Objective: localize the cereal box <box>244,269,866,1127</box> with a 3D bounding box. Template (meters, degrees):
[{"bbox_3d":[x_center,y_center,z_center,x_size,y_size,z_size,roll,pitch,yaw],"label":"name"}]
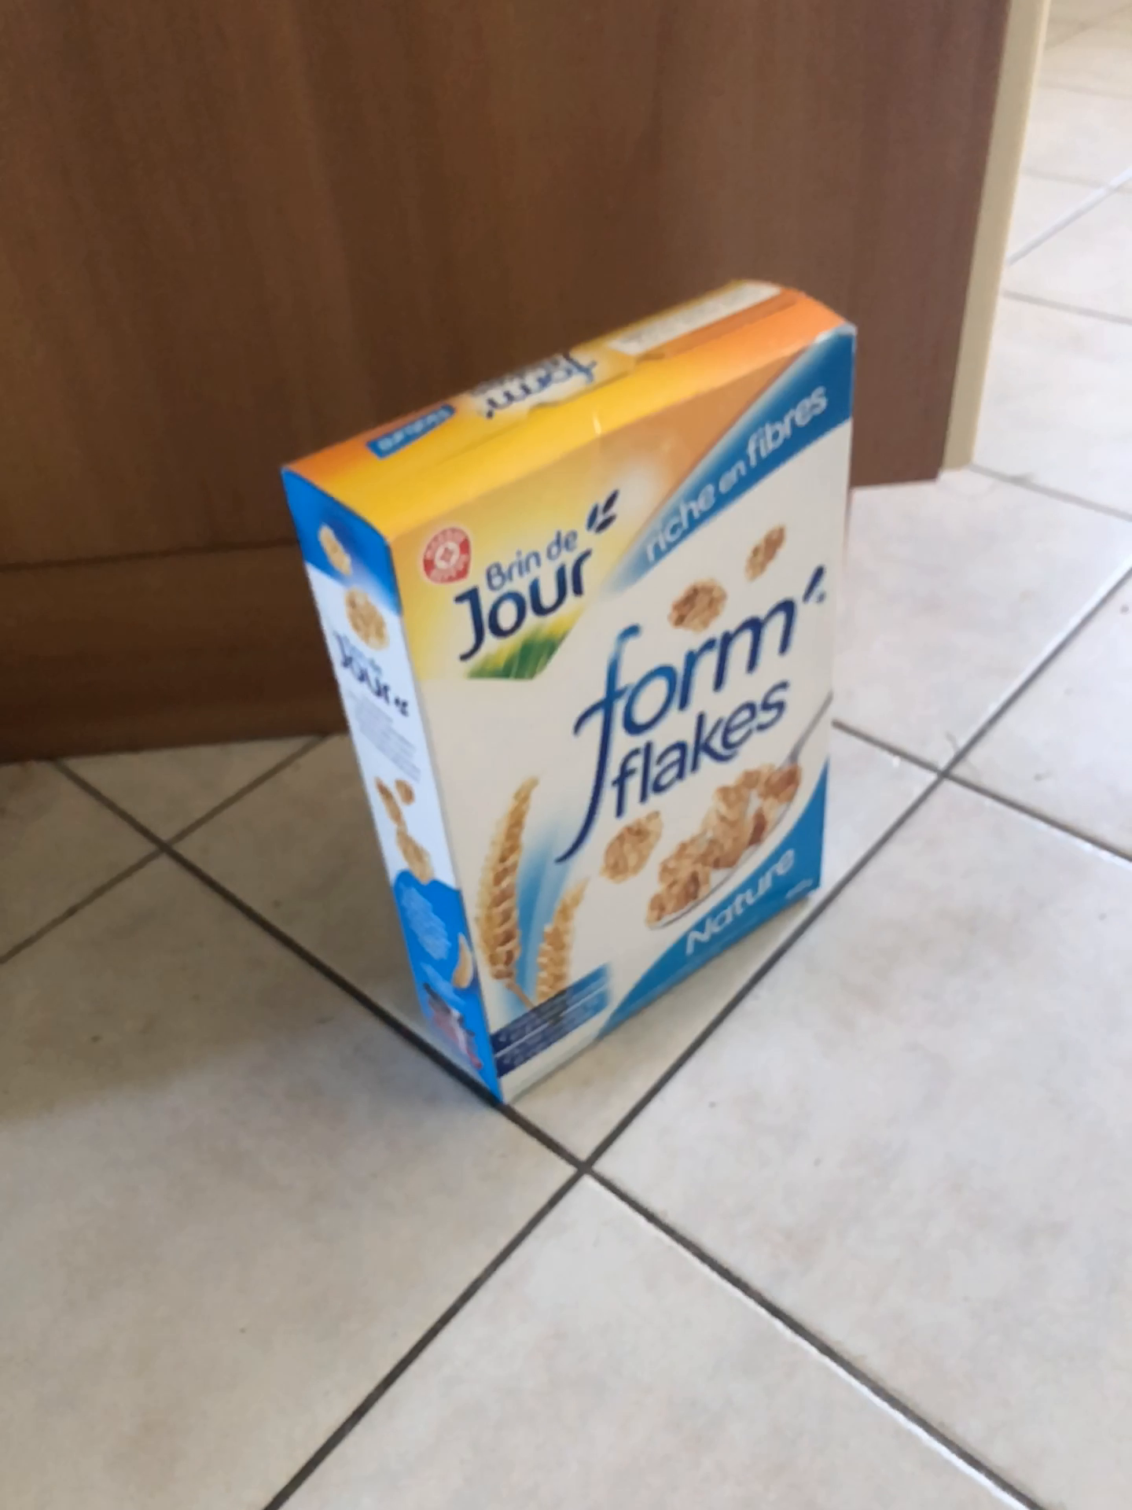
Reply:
[{"bbox_3d":[0.014,-0.014,0.494,0.201,0.278,0.070,-30,45,-25],"label":"cereal box"}]
